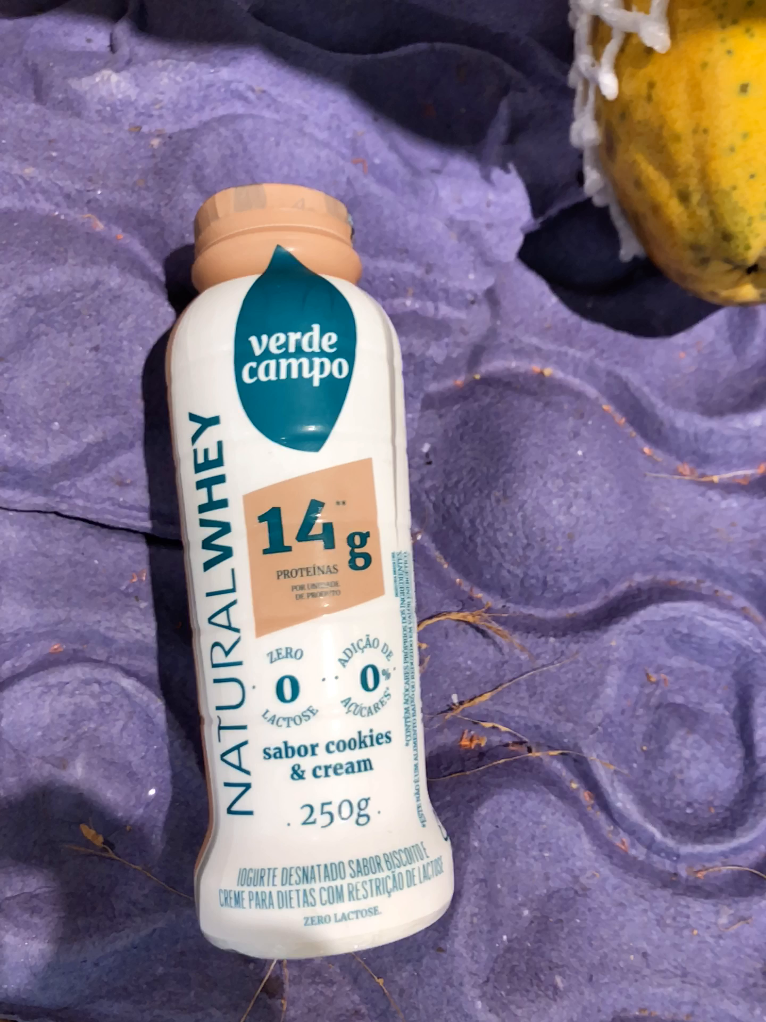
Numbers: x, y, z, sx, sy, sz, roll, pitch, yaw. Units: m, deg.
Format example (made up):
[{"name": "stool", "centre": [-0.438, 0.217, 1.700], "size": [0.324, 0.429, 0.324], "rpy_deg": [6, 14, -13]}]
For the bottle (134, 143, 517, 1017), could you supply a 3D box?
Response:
[{"name": "bottle", "centre": [-0.017, 0.008, 0.184], "size": [0.060, 0.040, 0.160], "rpy_deg": [-3, 81, -17]}]
